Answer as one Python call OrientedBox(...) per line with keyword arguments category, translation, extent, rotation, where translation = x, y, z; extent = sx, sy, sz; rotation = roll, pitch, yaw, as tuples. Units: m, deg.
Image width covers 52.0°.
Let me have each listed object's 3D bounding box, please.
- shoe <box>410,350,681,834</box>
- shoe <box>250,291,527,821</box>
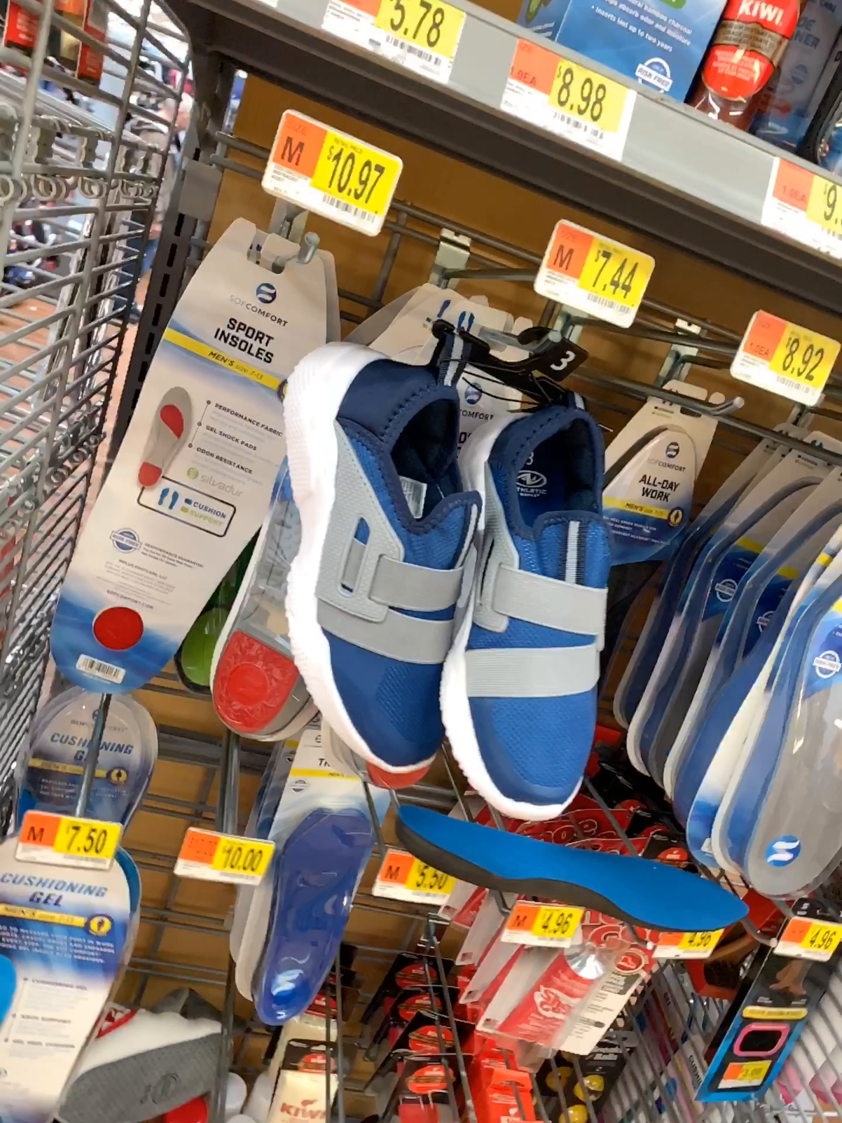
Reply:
OrientedBox(category="shoe", translation=(0.070, 0.022, 0.477), extent=(0.101, 0.233, 0.098), rotation=(12, -18, -22))
OrientedBox(category="shoe", translation=(-0.016, -0.004, 0.467), extent=(0.098, 0.245, 0.096), rotation=(-1, 2, 42))
